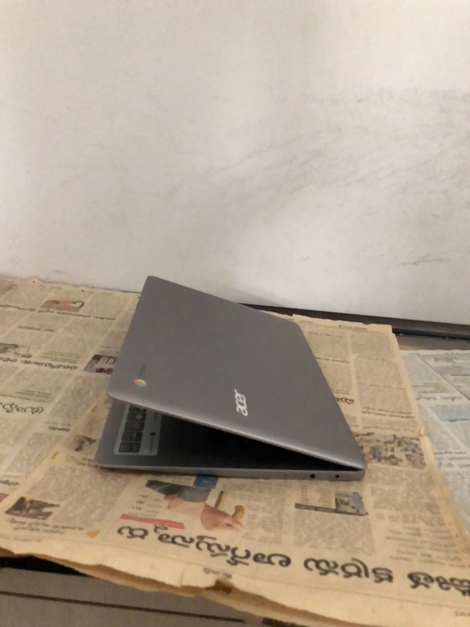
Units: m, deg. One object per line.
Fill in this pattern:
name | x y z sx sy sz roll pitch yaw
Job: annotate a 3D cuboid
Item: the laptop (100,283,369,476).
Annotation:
laptop | -0.010 0.046 0.566 0.210 0.058 0.331 3 19 -4
